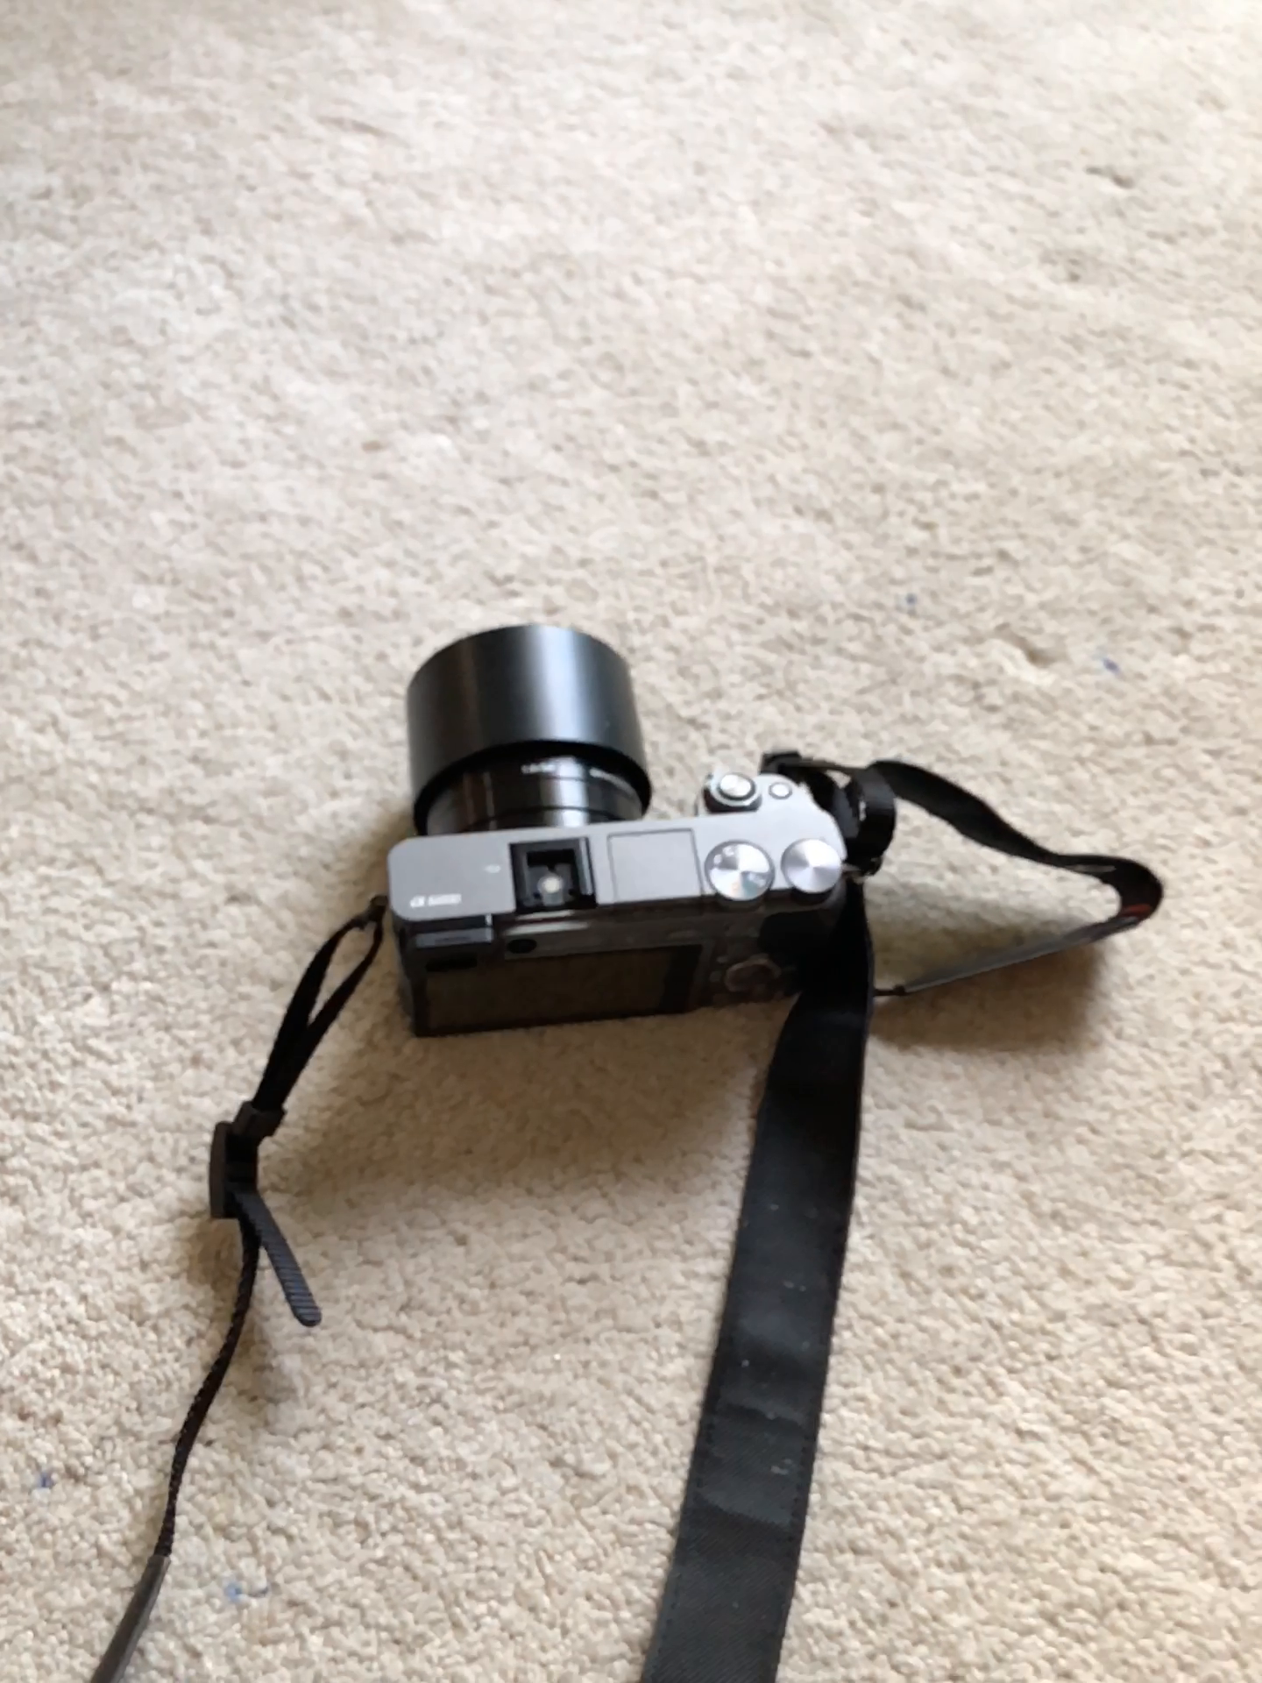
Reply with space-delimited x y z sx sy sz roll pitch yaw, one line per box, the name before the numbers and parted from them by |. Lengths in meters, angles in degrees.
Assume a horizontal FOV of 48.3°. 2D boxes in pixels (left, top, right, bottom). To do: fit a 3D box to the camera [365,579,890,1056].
camera | -0.007 -0.007 0.384 0.120 0.070 0.100 -4 60 -9
